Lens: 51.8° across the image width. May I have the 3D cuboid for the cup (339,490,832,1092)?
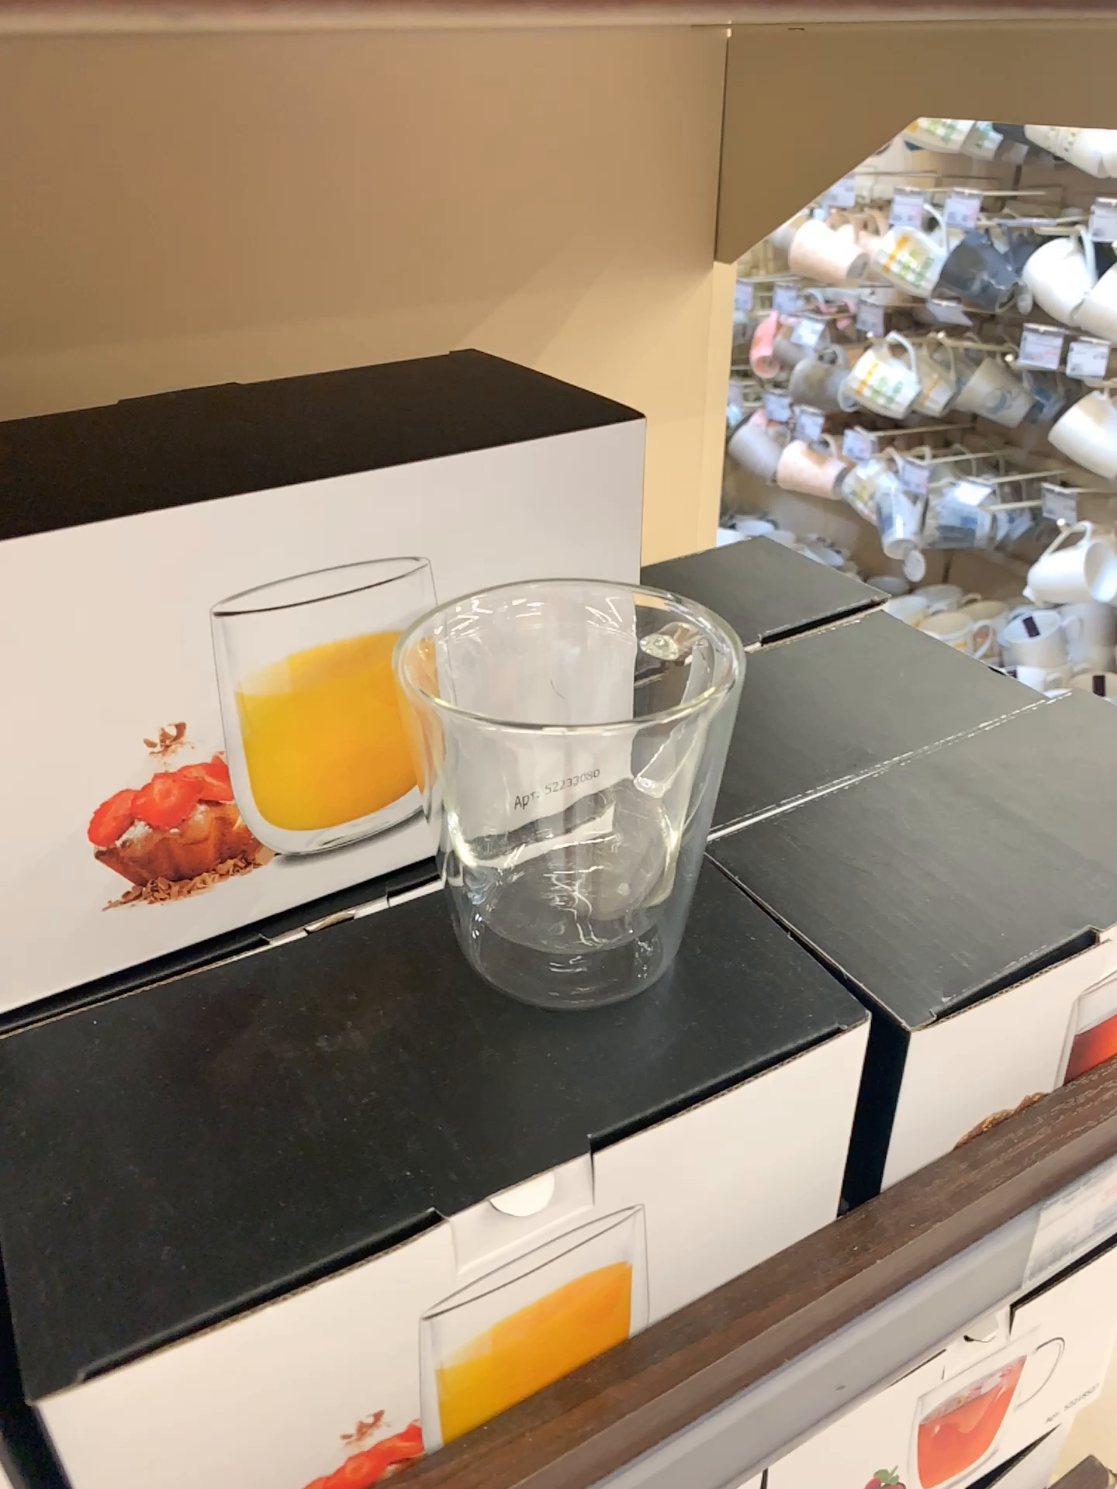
[{"bbox_3d":[0.012,0.003,0.281,0.070,0.090,0.110,14,34,23],"label":"cup"}]
